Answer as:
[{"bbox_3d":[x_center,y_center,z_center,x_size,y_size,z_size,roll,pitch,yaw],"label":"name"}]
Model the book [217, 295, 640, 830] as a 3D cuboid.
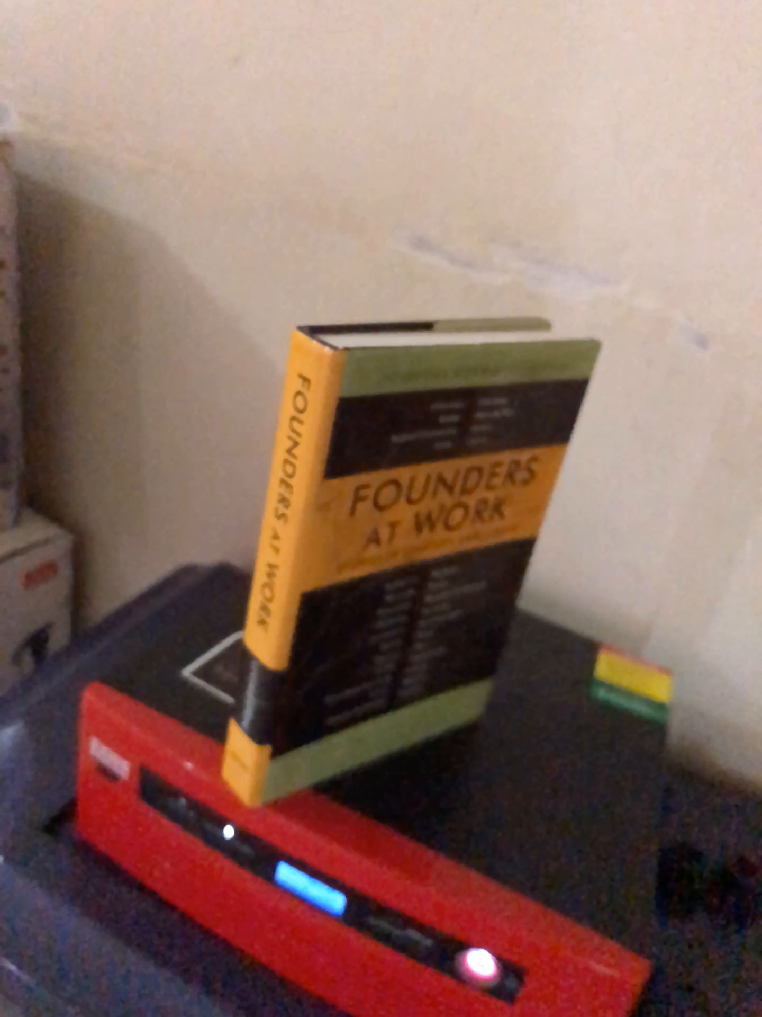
[{"bbox_3d":[0.019,0.024,0.425,0.180,0.249,0.040,-11,35,-36],"label":"book"}]
